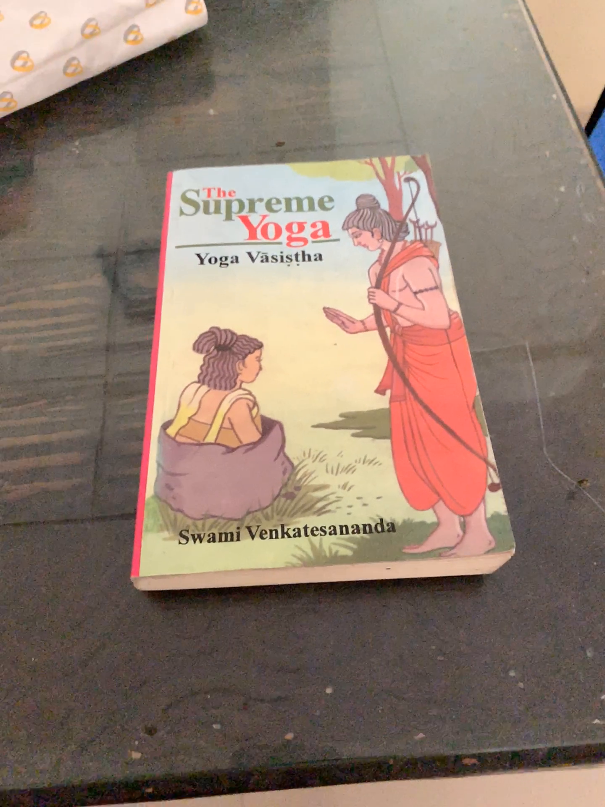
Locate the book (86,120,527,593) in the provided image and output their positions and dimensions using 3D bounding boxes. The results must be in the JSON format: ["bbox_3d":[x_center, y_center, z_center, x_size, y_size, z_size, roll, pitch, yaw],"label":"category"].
[{"bbox_3d":[-0.004,-0.035,0.266,0.140,0.030,0.211,-4,60,1],"label":"book"}]
